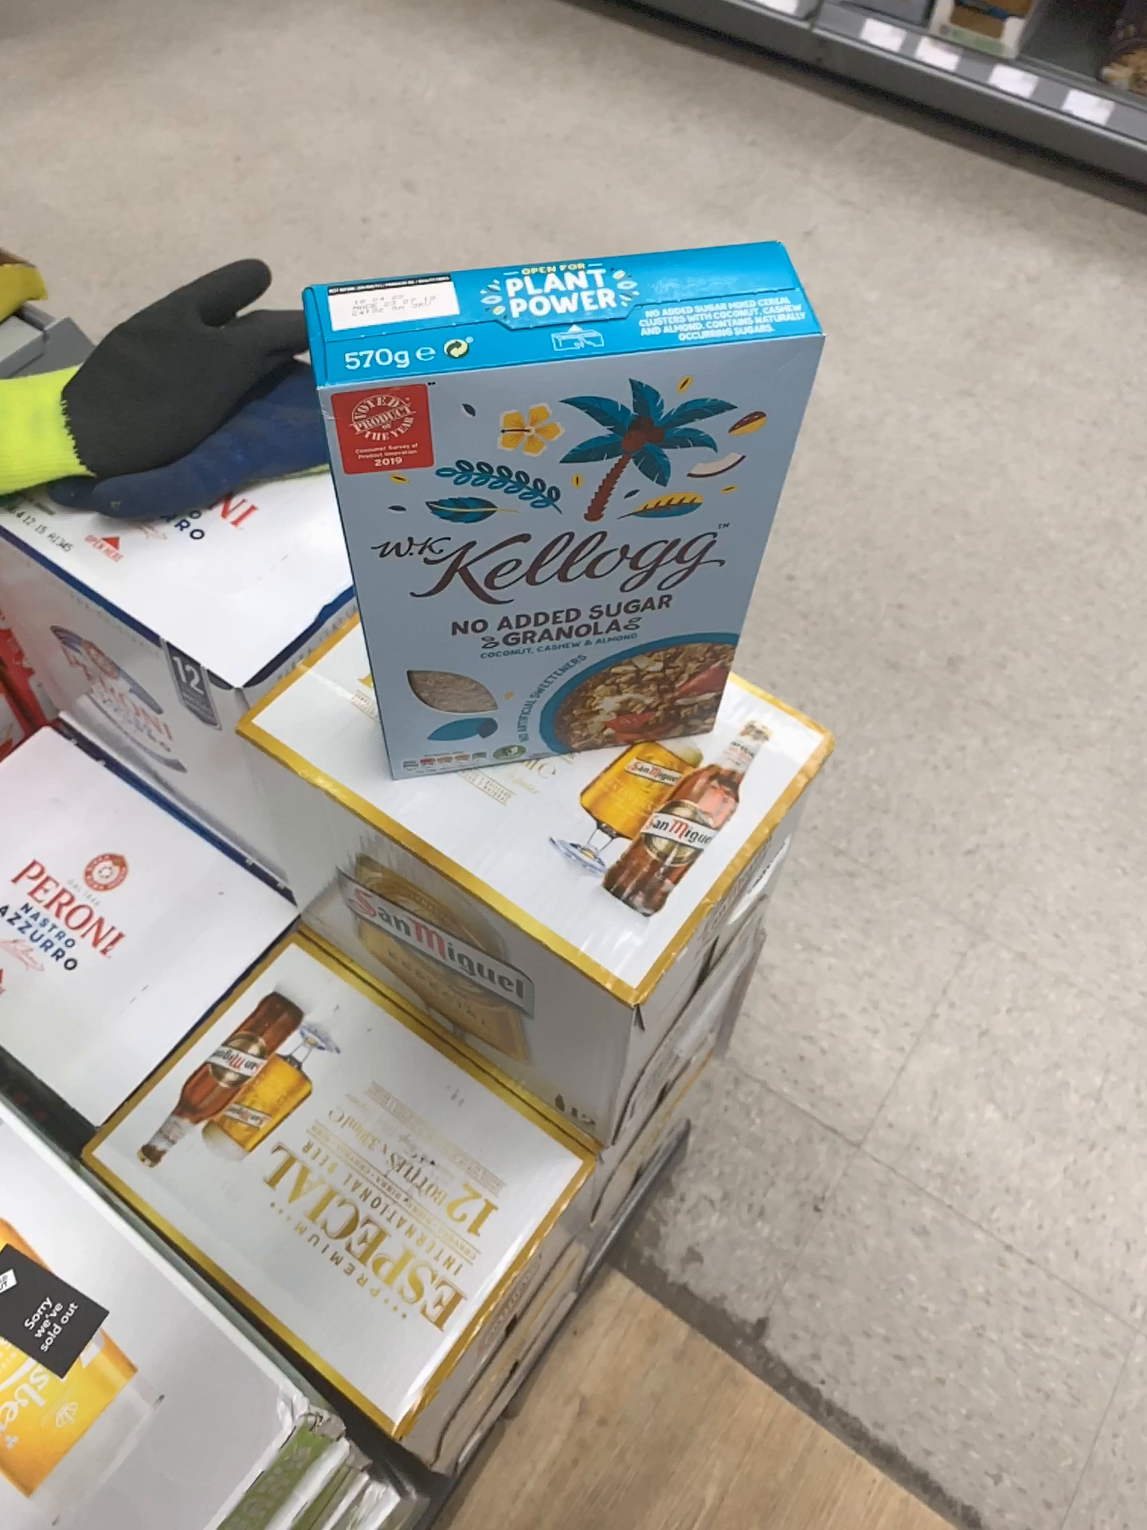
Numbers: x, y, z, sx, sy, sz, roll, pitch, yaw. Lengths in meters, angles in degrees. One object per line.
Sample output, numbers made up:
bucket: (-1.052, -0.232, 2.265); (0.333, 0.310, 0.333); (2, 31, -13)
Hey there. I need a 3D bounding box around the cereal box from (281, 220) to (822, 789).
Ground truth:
cereal box: (-0.012, -0.083, 0.471); (0.160, 0.248, 0.050); (-9, 61, -7)
